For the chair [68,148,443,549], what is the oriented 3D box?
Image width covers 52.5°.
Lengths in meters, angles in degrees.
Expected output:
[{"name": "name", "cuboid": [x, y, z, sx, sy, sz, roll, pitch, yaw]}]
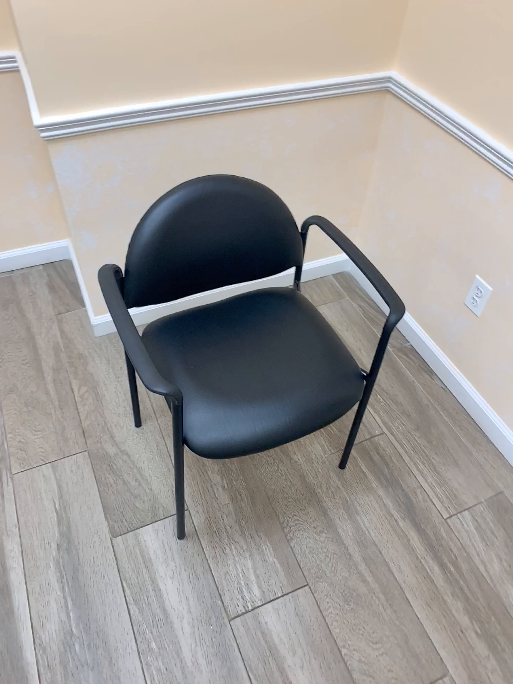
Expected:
[{"name": "chair", "cuboid": [-0.041, 0.024, 1.302, 0.583, 0.726, 0.512, -18, 51, -19]}]
